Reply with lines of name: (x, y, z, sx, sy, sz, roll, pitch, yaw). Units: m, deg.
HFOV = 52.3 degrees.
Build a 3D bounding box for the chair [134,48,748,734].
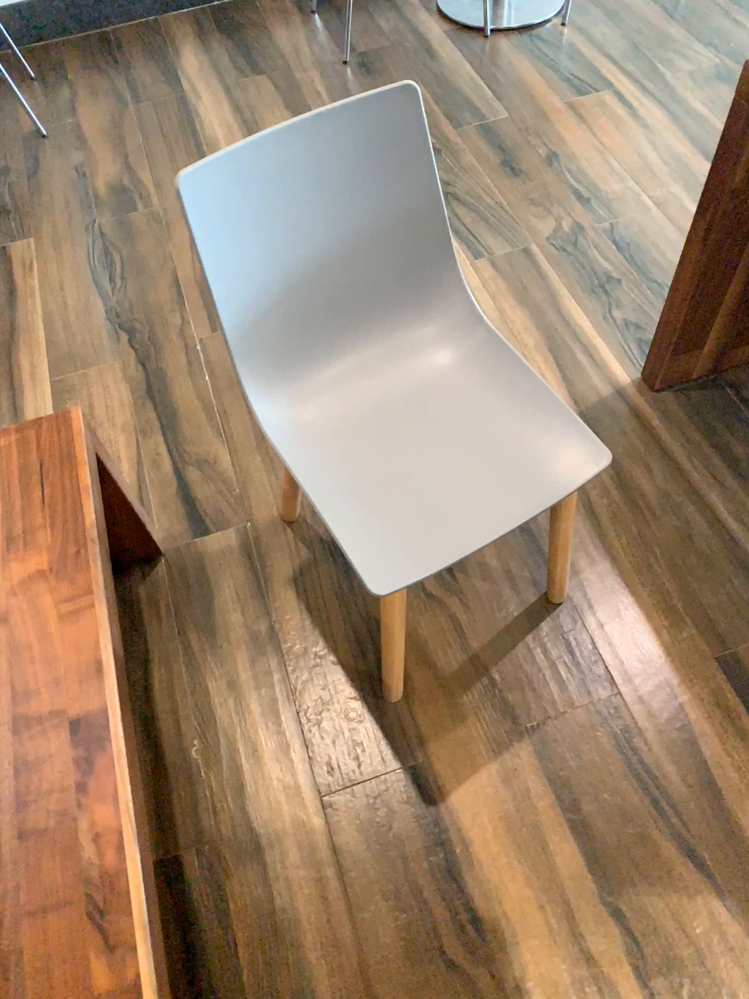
chair: (0.079, -0.120, 1.140, 0.501, 0.696, 0.563, -26, 59, -12)
